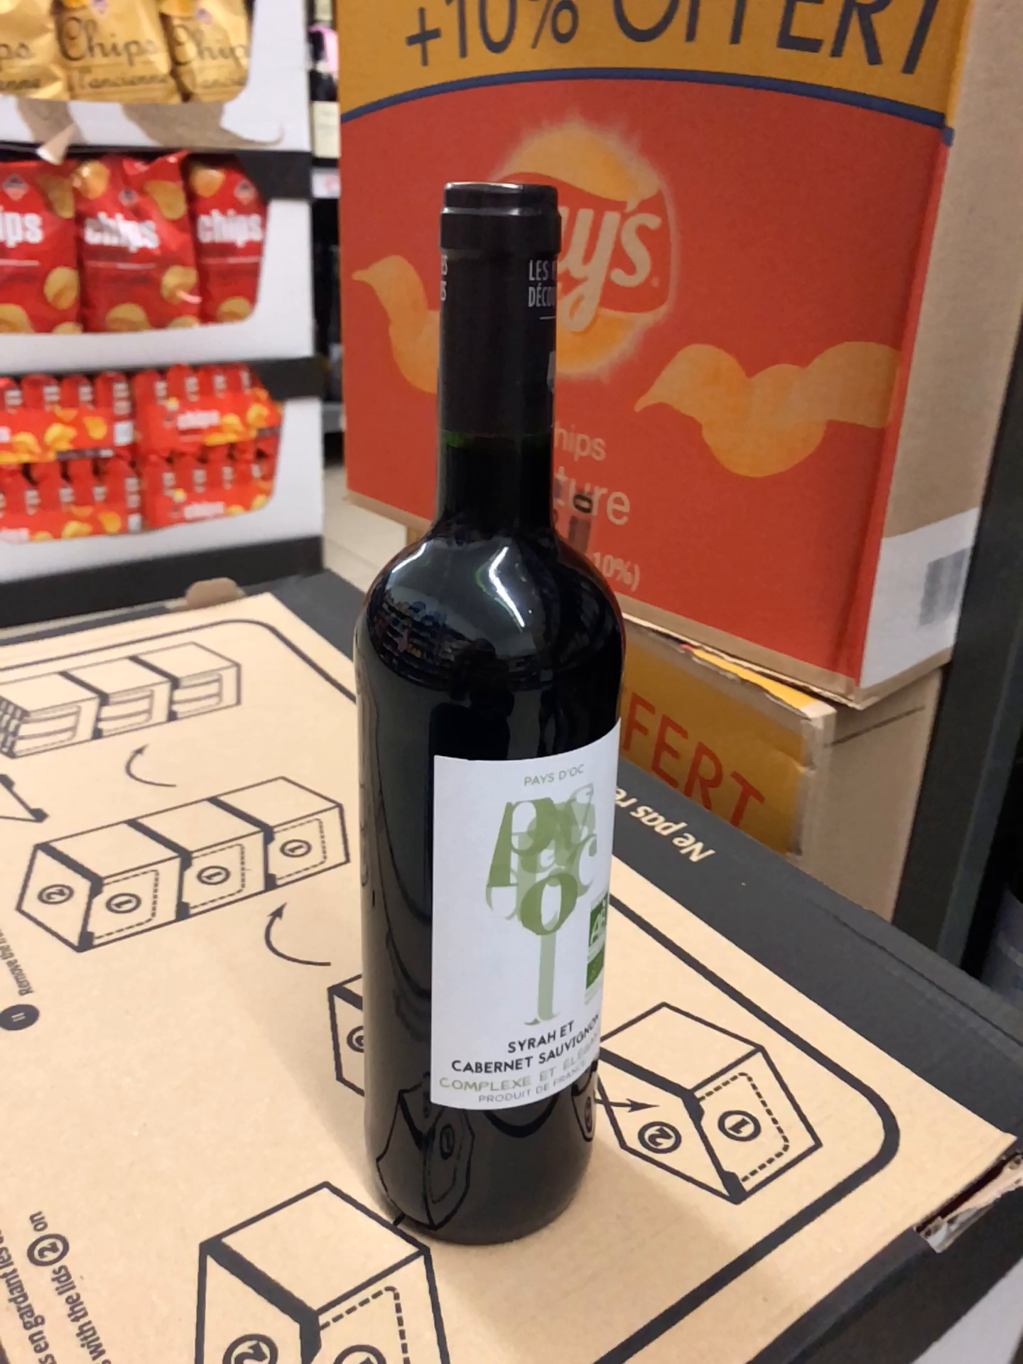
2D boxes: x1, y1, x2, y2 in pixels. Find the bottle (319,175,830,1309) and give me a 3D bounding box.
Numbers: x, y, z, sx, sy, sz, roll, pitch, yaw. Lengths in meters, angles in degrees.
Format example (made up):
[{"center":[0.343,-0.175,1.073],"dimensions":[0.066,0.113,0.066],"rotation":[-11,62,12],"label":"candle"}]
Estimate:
[{"center":[0.009,0.021,0.321],"dimensions":[0.090,0.298,0.080],"rotation":[-11,26,-27],"label":"bottle"}]
